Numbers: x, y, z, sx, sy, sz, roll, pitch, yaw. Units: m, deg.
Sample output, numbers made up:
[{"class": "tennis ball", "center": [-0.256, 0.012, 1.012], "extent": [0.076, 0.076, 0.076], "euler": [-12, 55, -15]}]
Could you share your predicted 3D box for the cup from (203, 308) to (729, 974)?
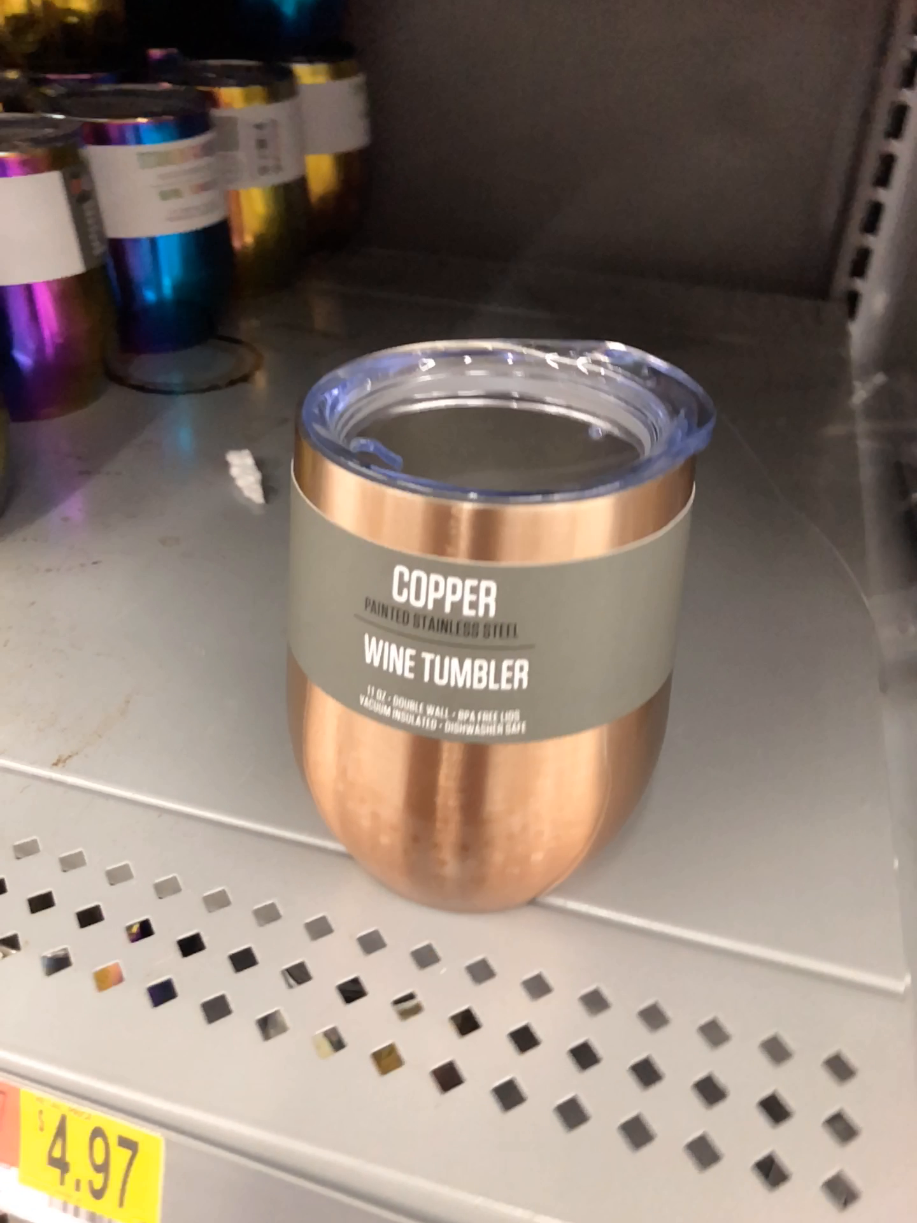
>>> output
[{"class": "cup", "center": [0.005, 0.007, 0.231], "extent": [0.088, 0.121, 0.068], "euler": [9, 36, 9]}]
